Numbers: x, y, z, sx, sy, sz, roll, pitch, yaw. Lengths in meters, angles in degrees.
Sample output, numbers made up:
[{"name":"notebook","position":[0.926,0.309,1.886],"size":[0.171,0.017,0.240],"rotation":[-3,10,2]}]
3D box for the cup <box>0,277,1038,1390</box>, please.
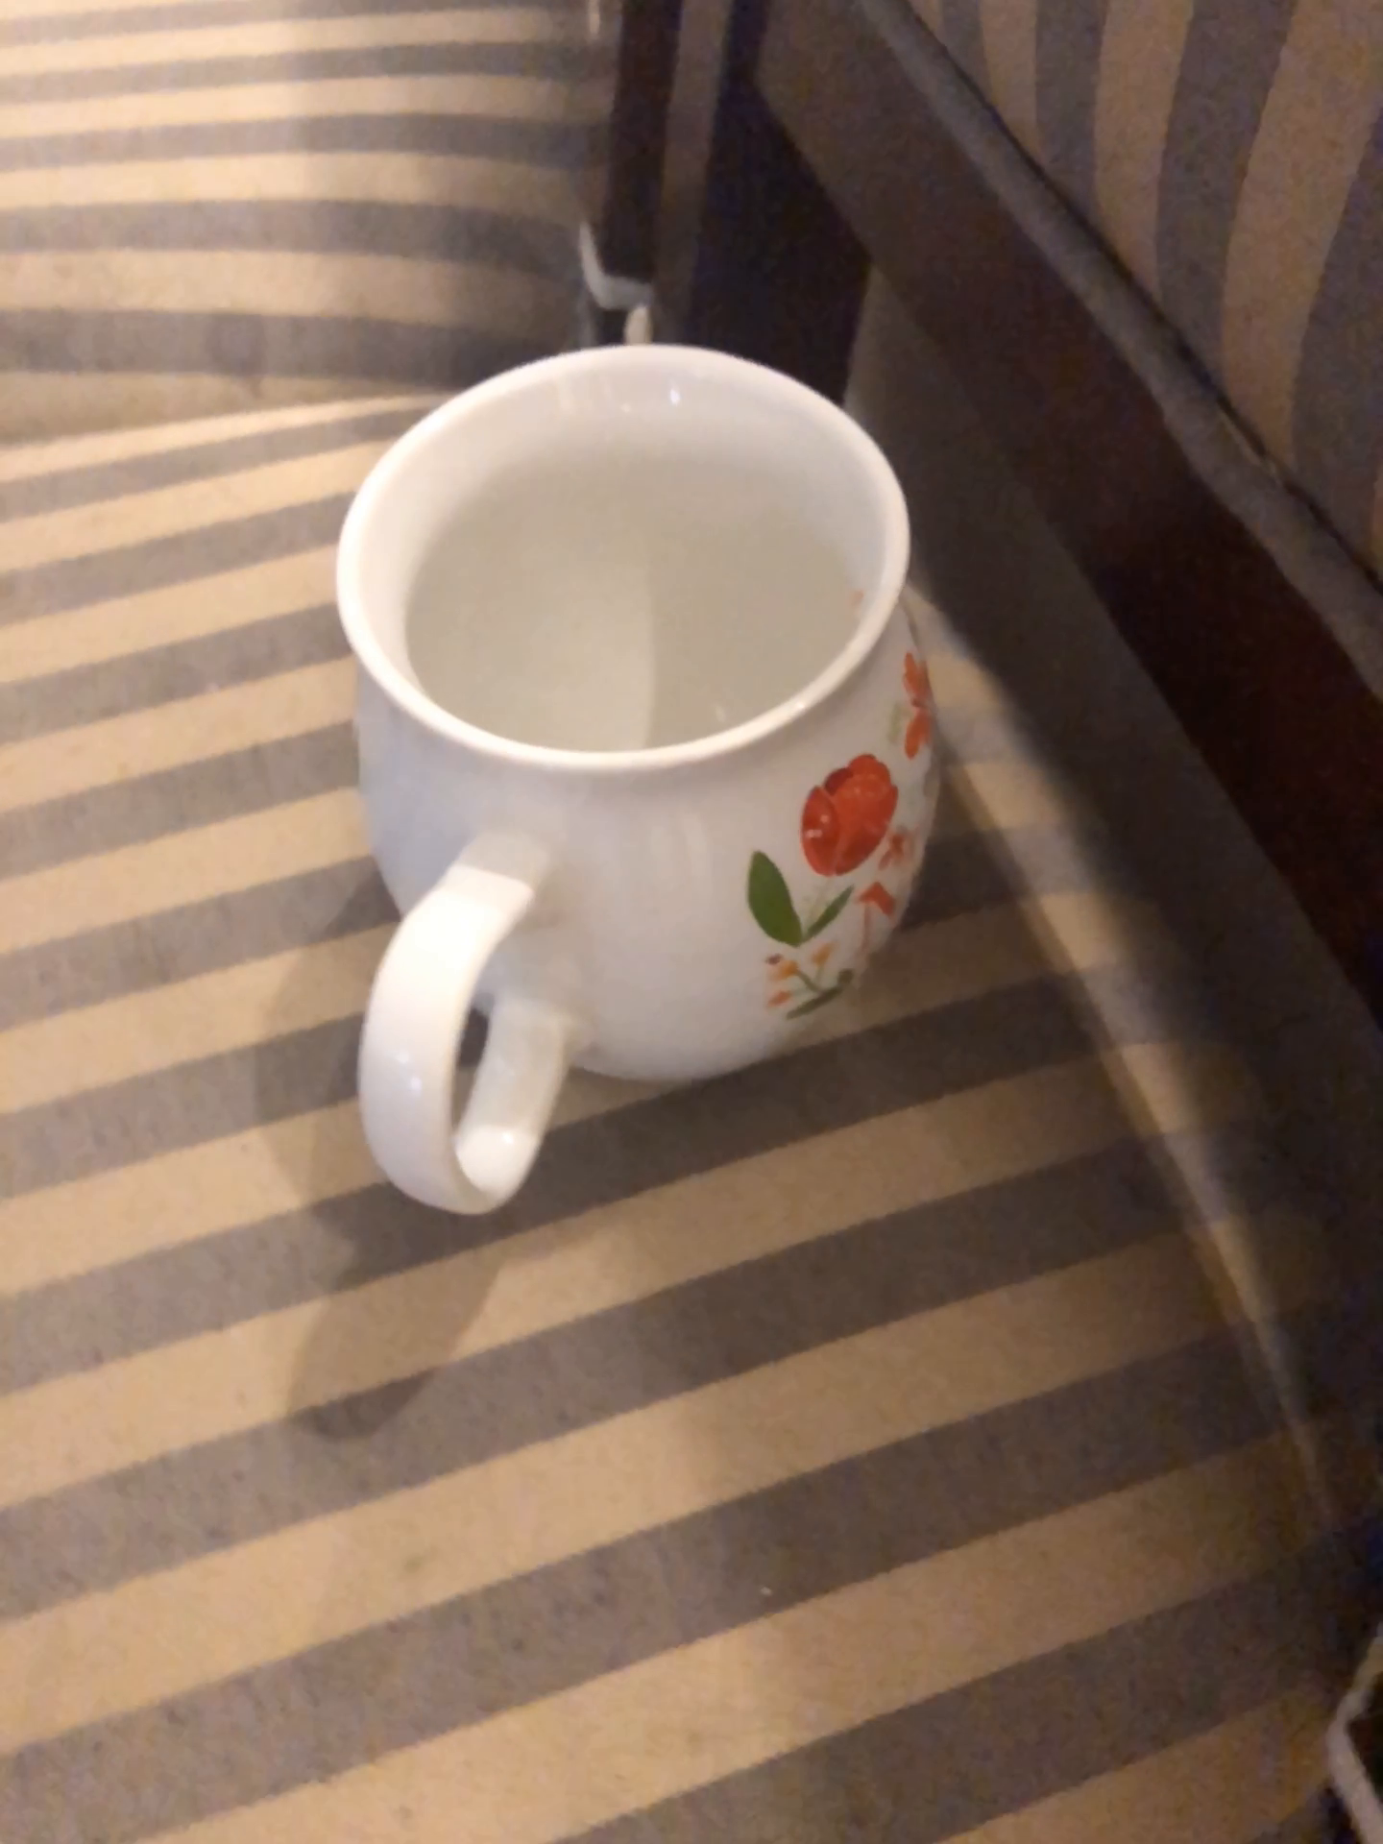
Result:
[{"name":"cup","position":[-0.021,-0.019,0.266],"size":[0.110,0.090,0.141],"rotation":[19,59,12]}]
